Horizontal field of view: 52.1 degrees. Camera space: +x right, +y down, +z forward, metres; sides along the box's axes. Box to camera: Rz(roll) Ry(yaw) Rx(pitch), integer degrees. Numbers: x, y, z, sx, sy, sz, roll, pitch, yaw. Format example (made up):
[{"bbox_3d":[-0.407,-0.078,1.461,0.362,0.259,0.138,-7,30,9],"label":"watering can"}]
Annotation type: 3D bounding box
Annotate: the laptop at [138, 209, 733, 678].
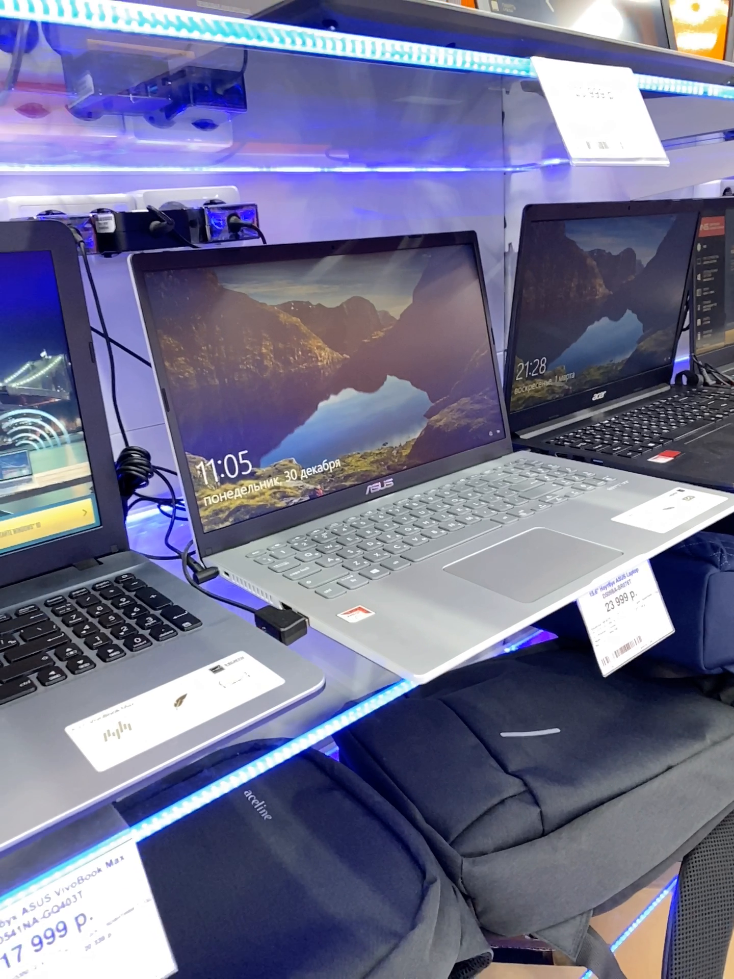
[{"bbox_3d":[0.070,-0.078,0.565,0.360,0.216,0.286,-17,22,-36],"label":"laptop"}]
